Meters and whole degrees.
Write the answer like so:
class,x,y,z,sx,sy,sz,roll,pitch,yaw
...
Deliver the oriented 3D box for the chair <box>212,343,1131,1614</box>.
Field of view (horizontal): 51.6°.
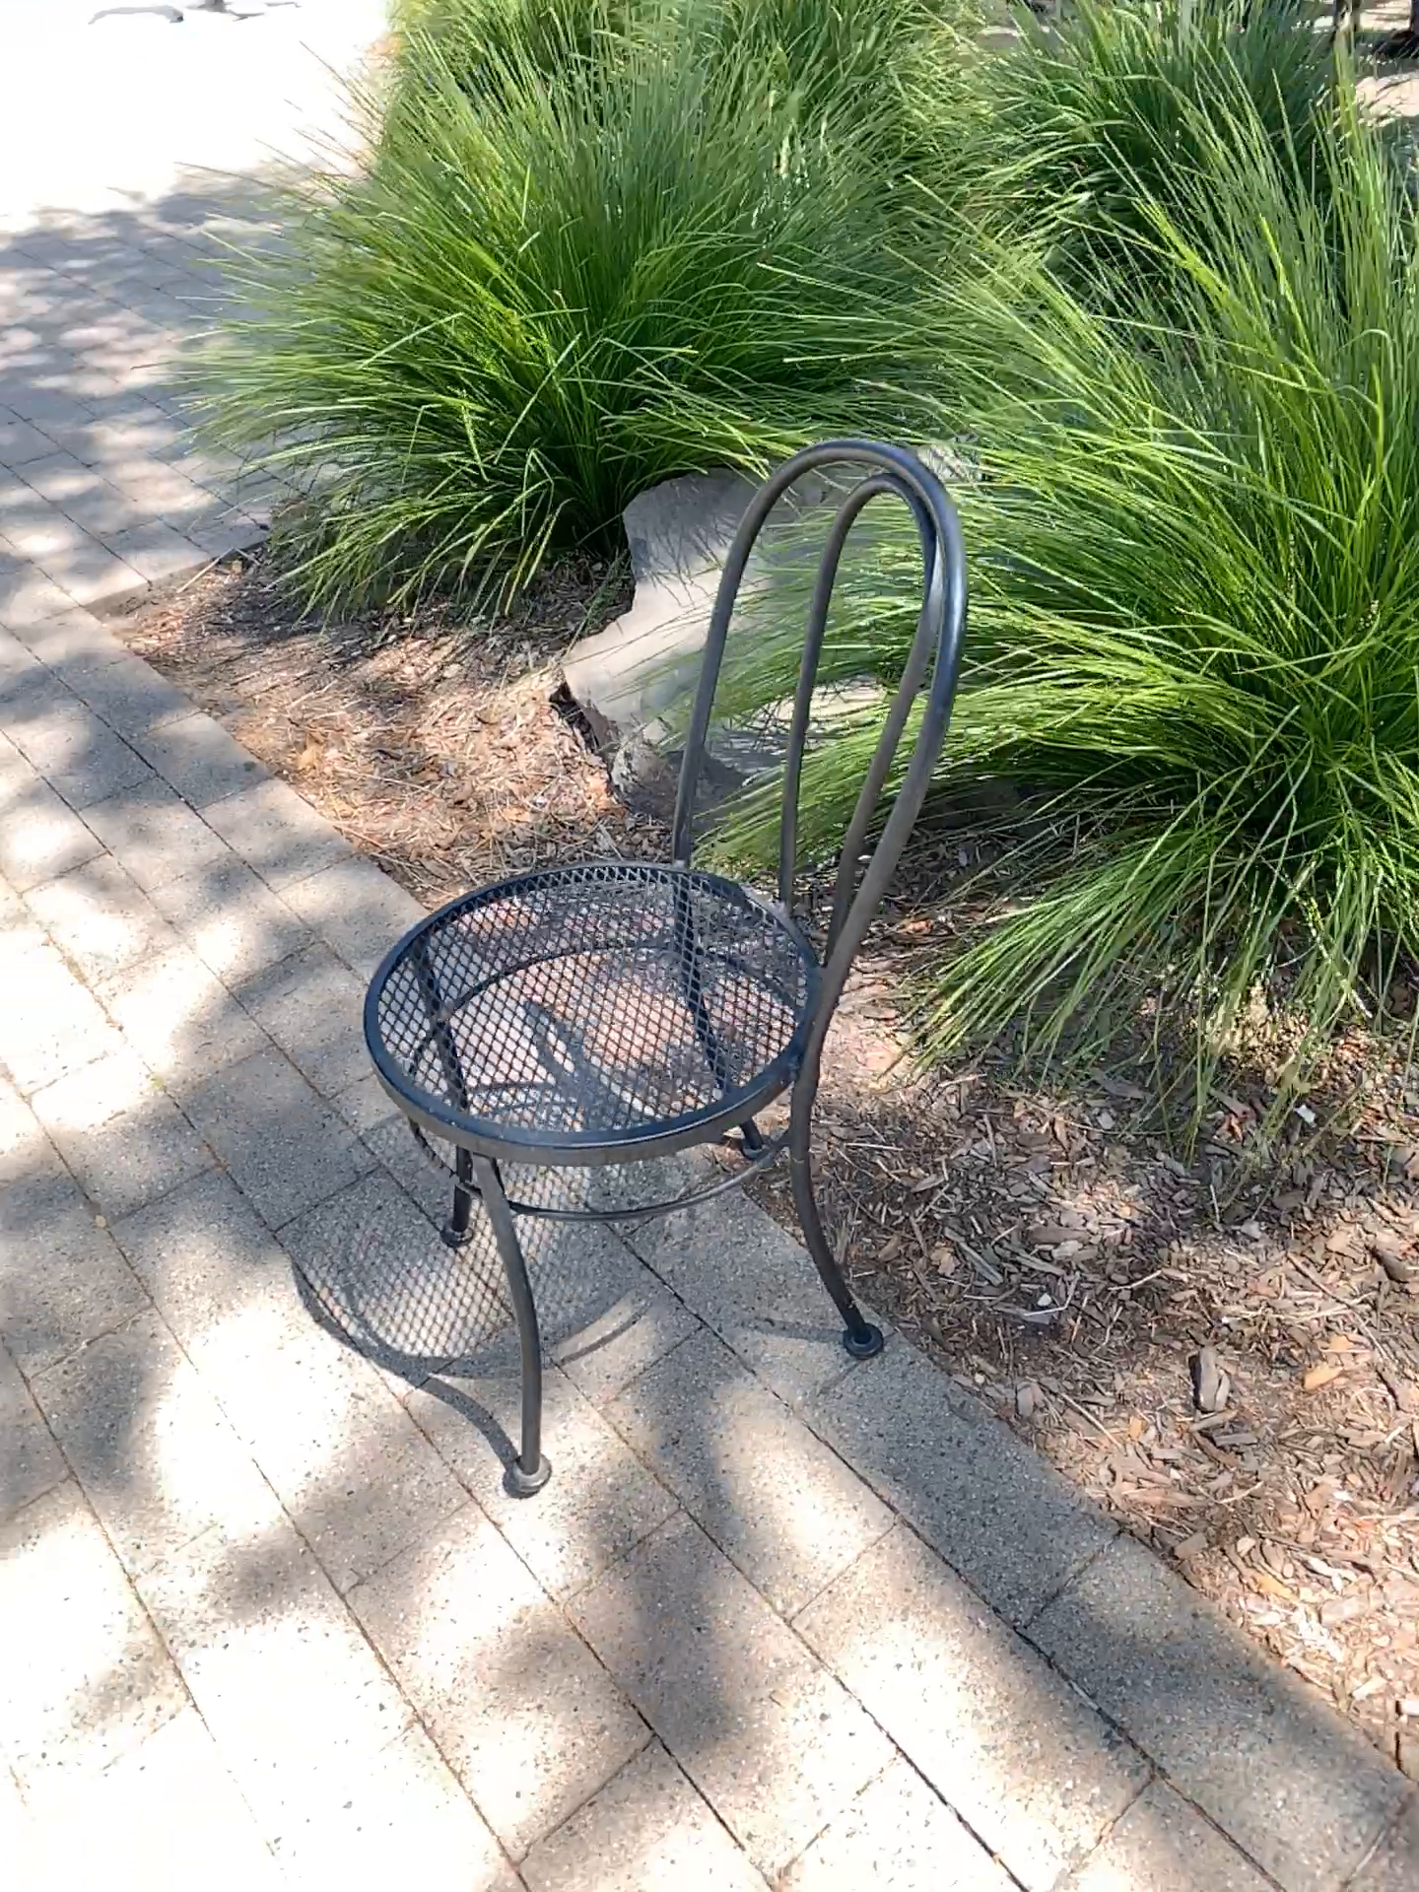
class,x,y,z,sx,sy,sz,roll,pitch,yaw
chair,-0.030,0.073,1.347,0.529,0.997,0.463,-15,41,-11
